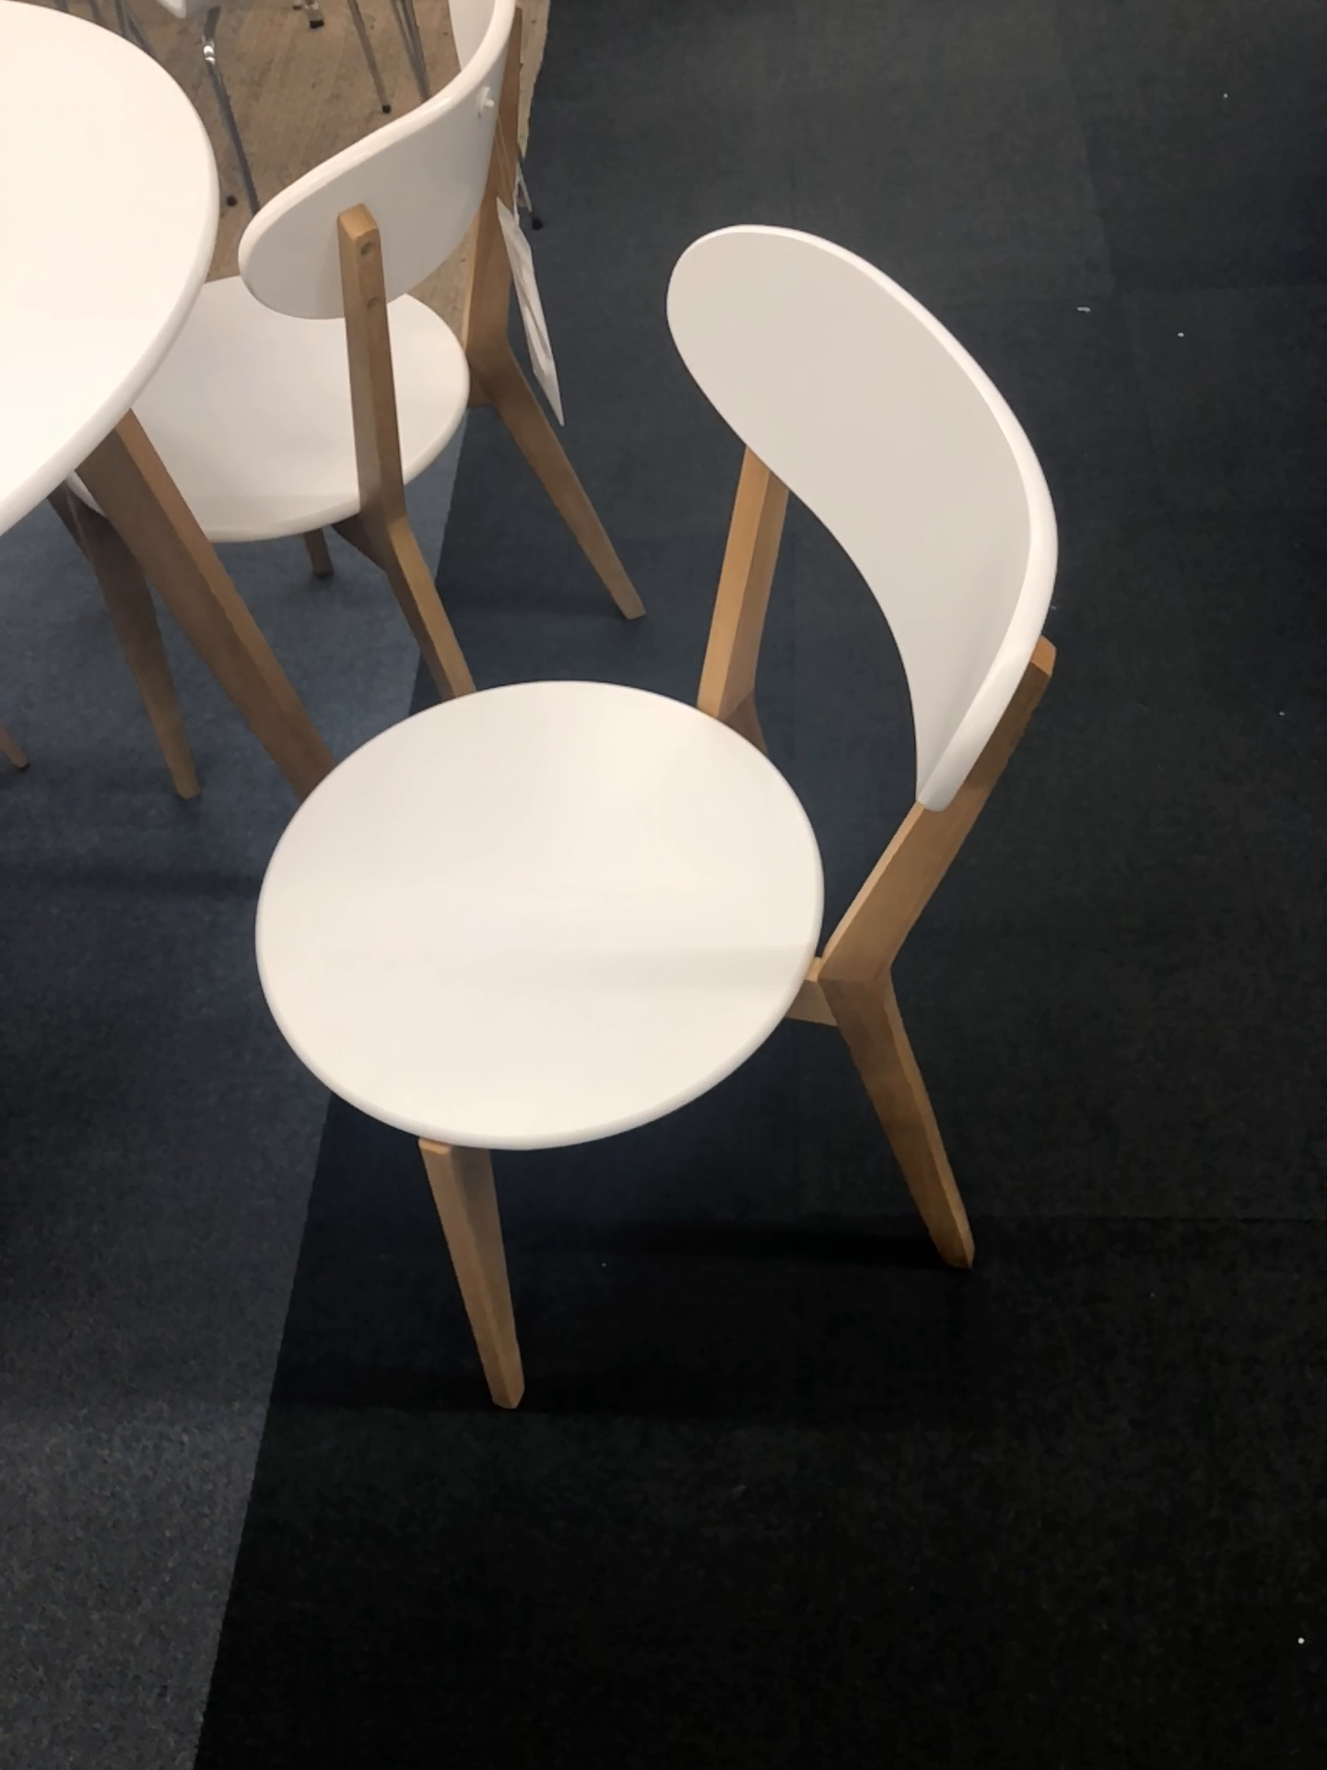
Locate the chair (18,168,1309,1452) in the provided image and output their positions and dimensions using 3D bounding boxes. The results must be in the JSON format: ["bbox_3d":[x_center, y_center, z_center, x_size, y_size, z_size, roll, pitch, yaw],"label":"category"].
[{"bbox_3d":[-0.022,-0.018,1.001,0.560,0.598,0.481,-17,55,-5],"label":"chair"}]
